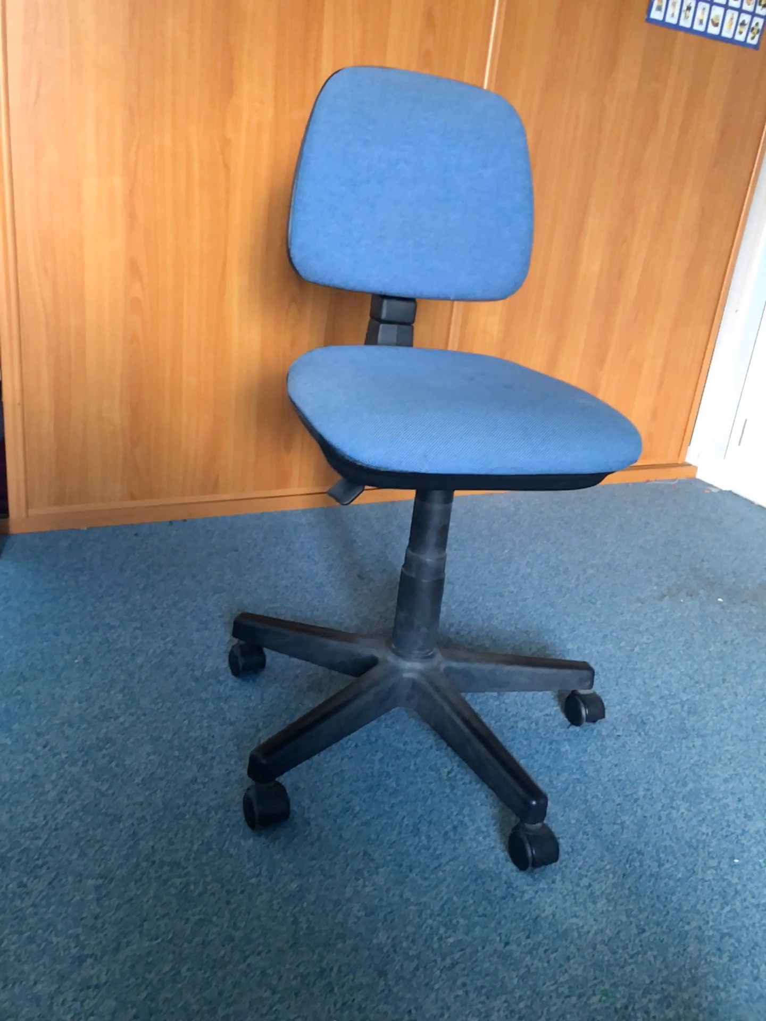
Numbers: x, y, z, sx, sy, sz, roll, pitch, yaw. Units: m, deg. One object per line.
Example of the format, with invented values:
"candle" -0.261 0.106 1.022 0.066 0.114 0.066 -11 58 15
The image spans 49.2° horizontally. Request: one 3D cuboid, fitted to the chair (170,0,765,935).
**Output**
"chair" 0.085 -0.127 1.169 0.651 0.915 0.762 -1 22 -20
